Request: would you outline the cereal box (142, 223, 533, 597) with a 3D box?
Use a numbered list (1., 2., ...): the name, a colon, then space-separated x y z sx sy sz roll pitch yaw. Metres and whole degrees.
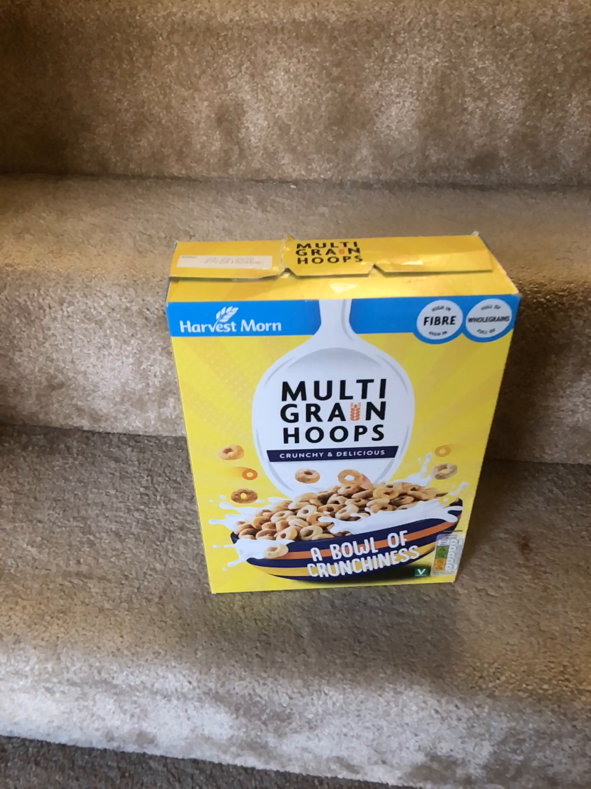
1. cereal box: 0.022 0.022 0.448 0.200 0.248 0.091 -2 39 -1
